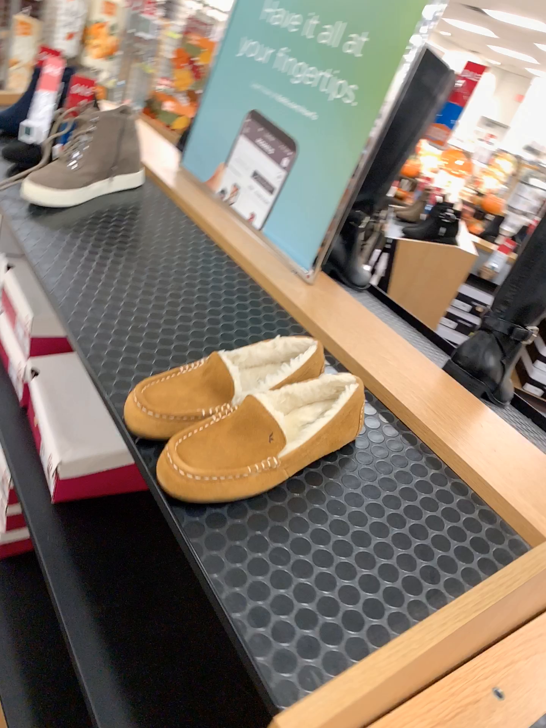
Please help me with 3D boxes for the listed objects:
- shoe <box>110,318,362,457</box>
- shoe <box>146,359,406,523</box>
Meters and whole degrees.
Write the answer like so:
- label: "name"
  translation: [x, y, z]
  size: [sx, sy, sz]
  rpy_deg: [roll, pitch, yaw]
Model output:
- label: "shoe"
  translation: [-0.036, 0.017, 0.634]
  size: [0.271, 0.060, 0.090]
  rpy_deg: [-13, 43, -32]
- label: "shoe"
  translation: [0.008, 0.068, 0.573]
  size: [0.251, 0.060, 0.090]
  rpy_deg: [-13, 43, -32]
